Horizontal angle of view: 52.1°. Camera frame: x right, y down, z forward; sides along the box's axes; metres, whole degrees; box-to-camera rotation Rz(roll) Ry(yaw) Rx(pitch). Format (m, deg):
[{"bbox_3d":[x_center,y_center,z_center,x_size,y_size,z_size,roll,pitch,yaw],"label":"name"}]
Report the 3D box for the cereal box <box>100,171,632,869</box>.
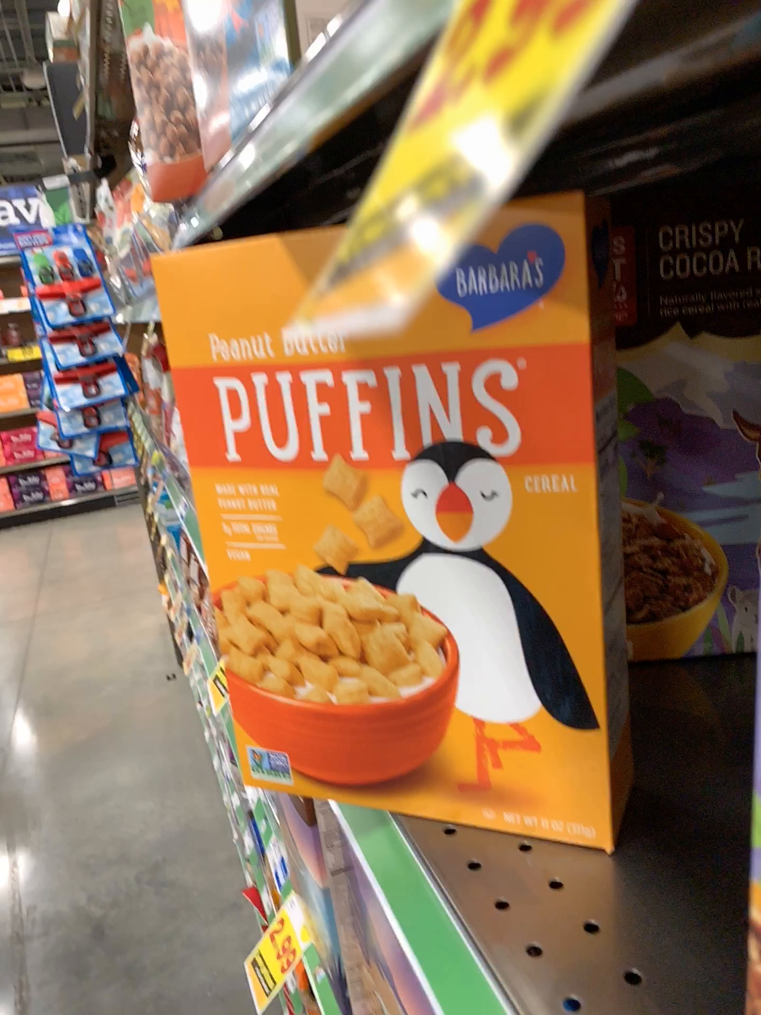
[{"bbox_3d":[0.000,0.010,0.368,0.220,0.279,0.060,1,16,23],"label":"cereal box"}]
